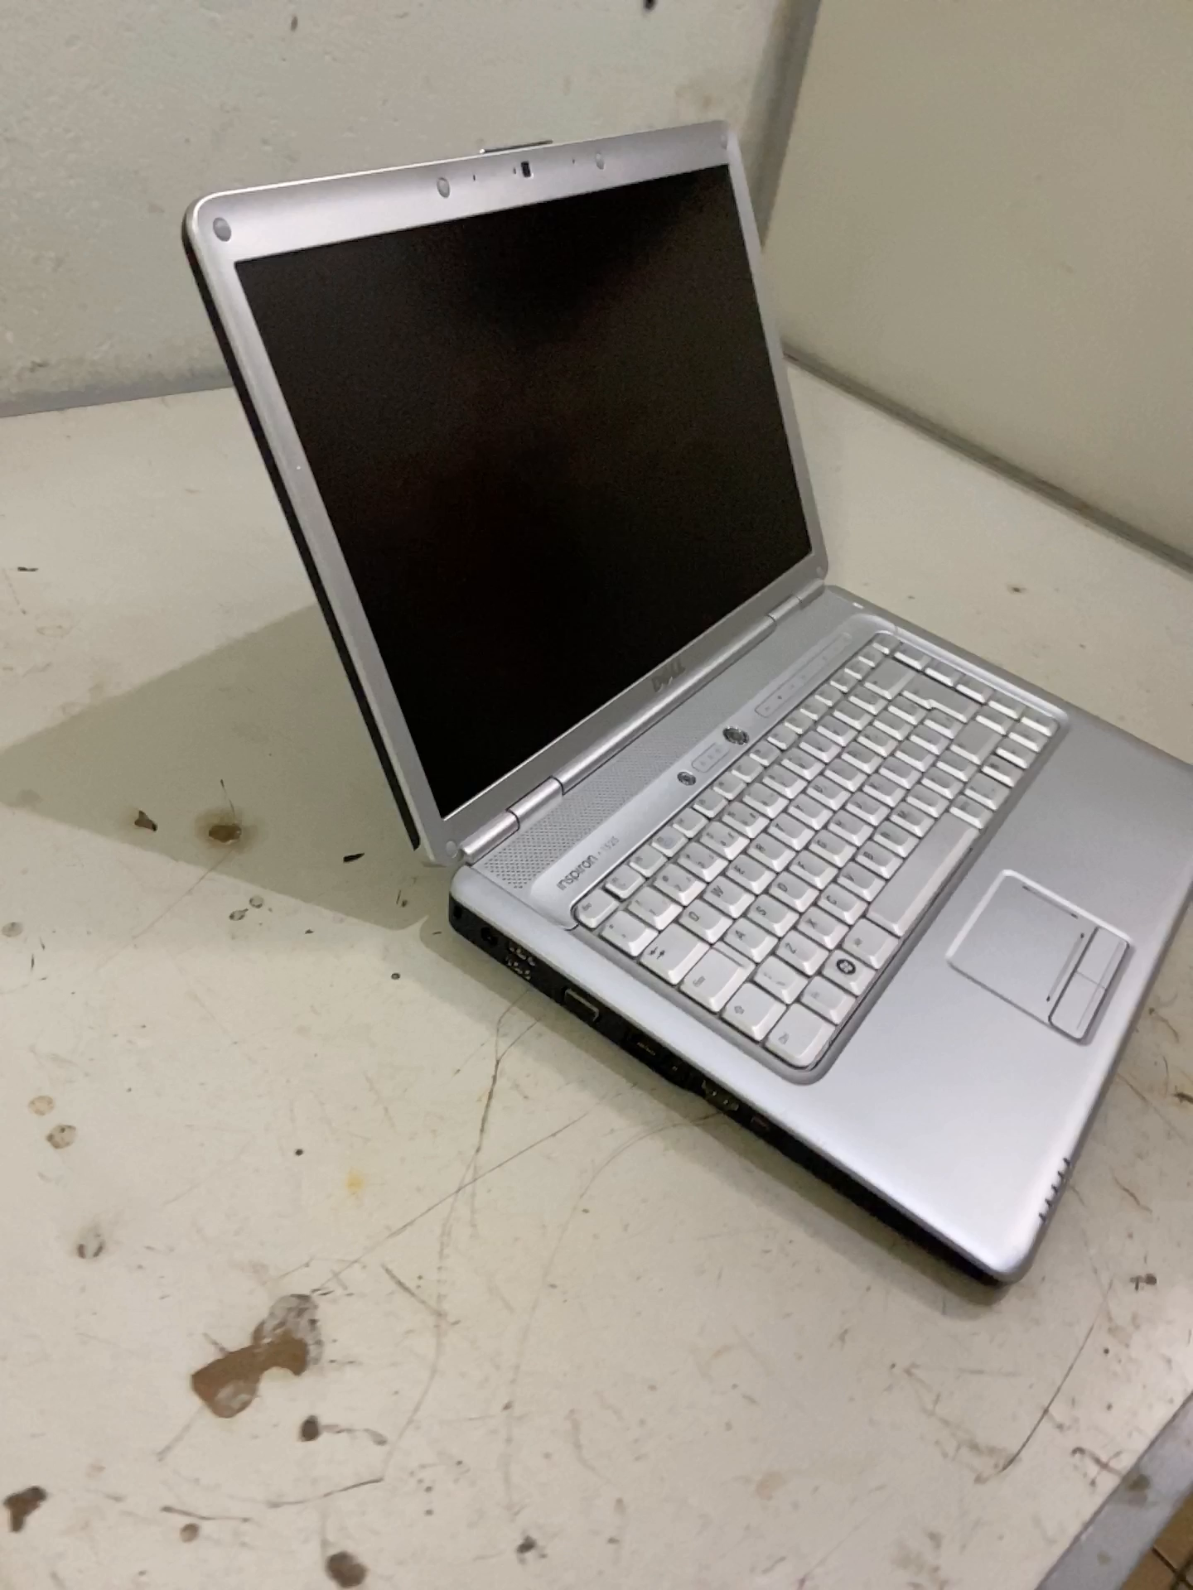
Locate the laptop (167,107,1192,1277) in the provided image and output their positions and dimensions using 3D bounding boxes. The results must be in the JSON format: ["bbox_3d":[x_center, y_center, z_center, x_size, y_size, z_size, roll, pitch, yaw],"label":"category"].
[{"bbox_3d":[0.096,-0.100,0.511,0.377,0.208,0.351,32,42,19],"label":"laptop"}]
